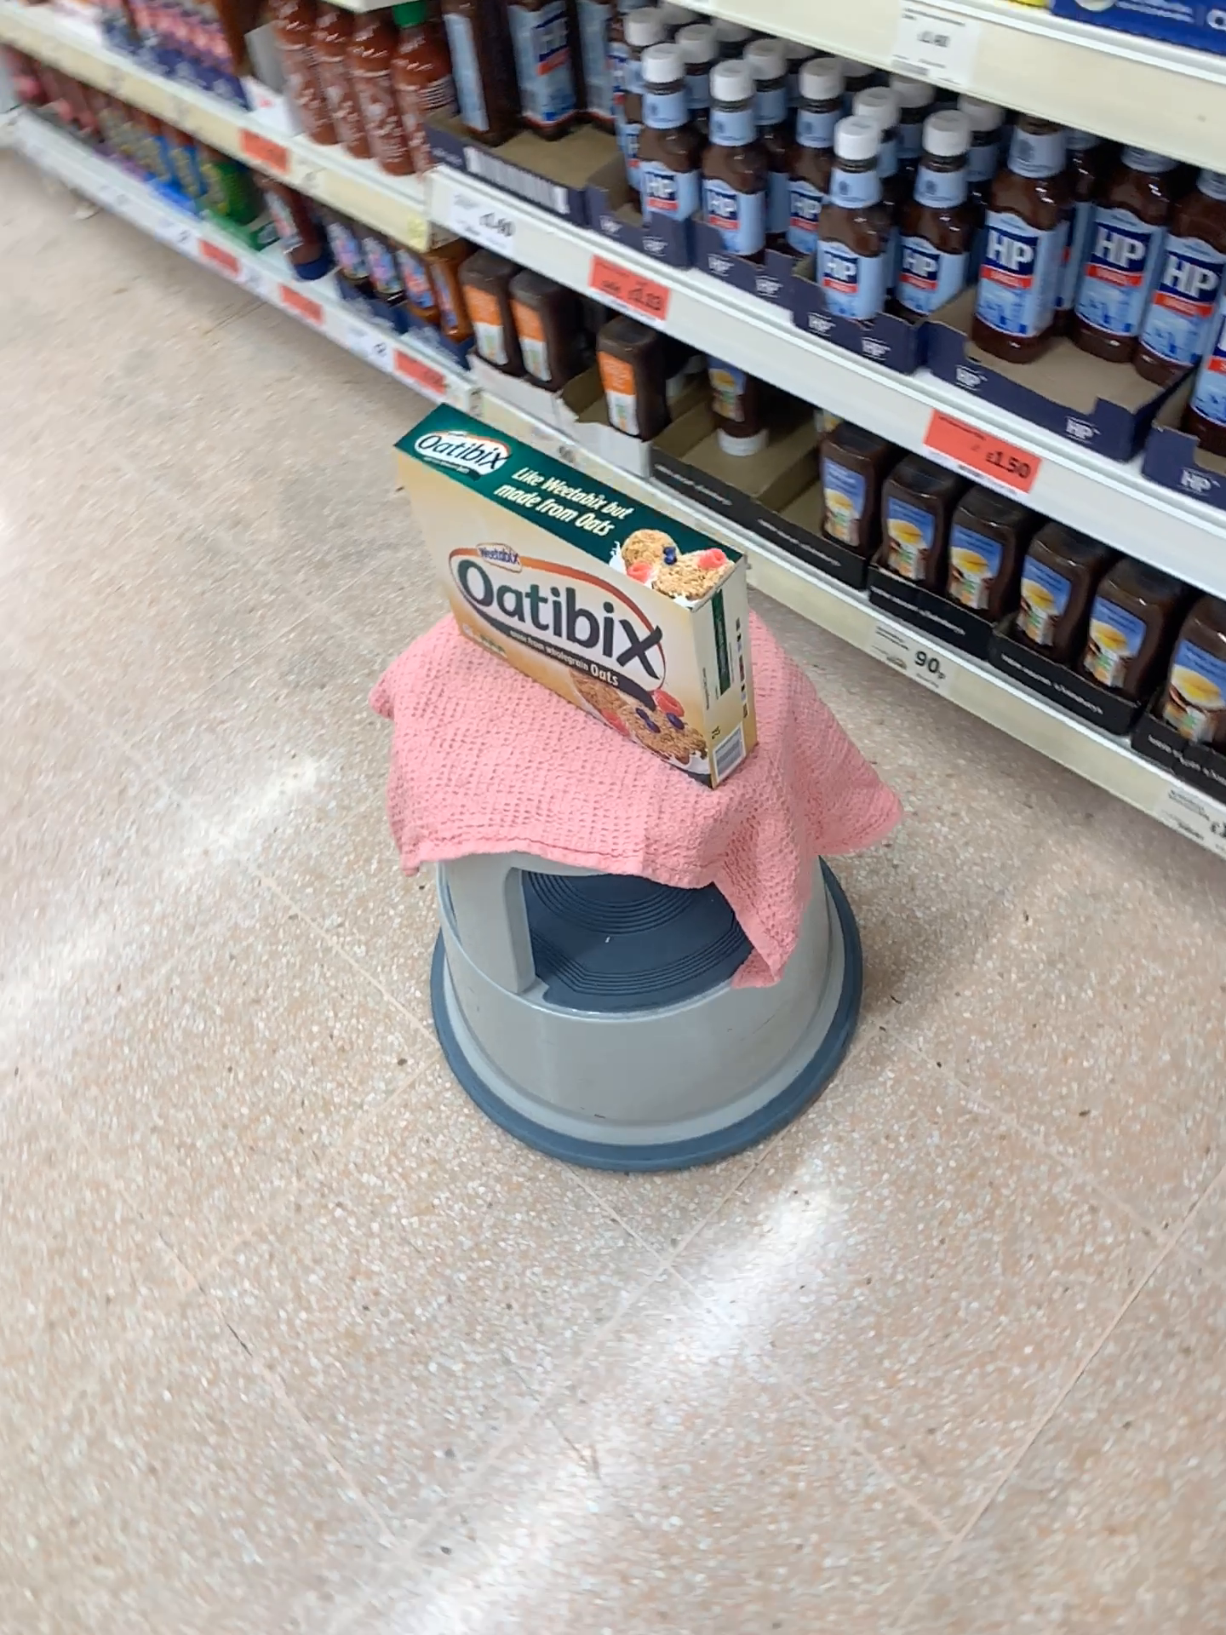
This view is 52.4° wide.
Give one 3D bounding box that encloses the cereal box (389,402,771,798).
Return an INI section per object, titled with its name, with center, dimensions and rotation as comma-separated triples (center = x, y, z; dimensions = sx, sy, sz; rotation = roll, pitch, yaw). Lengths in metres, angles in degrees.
[cereal box]
center = -0.019, -0.152, 0.879
dimensions = 0.271, 0.189, 0.060
rotation = 34, 69, 27
